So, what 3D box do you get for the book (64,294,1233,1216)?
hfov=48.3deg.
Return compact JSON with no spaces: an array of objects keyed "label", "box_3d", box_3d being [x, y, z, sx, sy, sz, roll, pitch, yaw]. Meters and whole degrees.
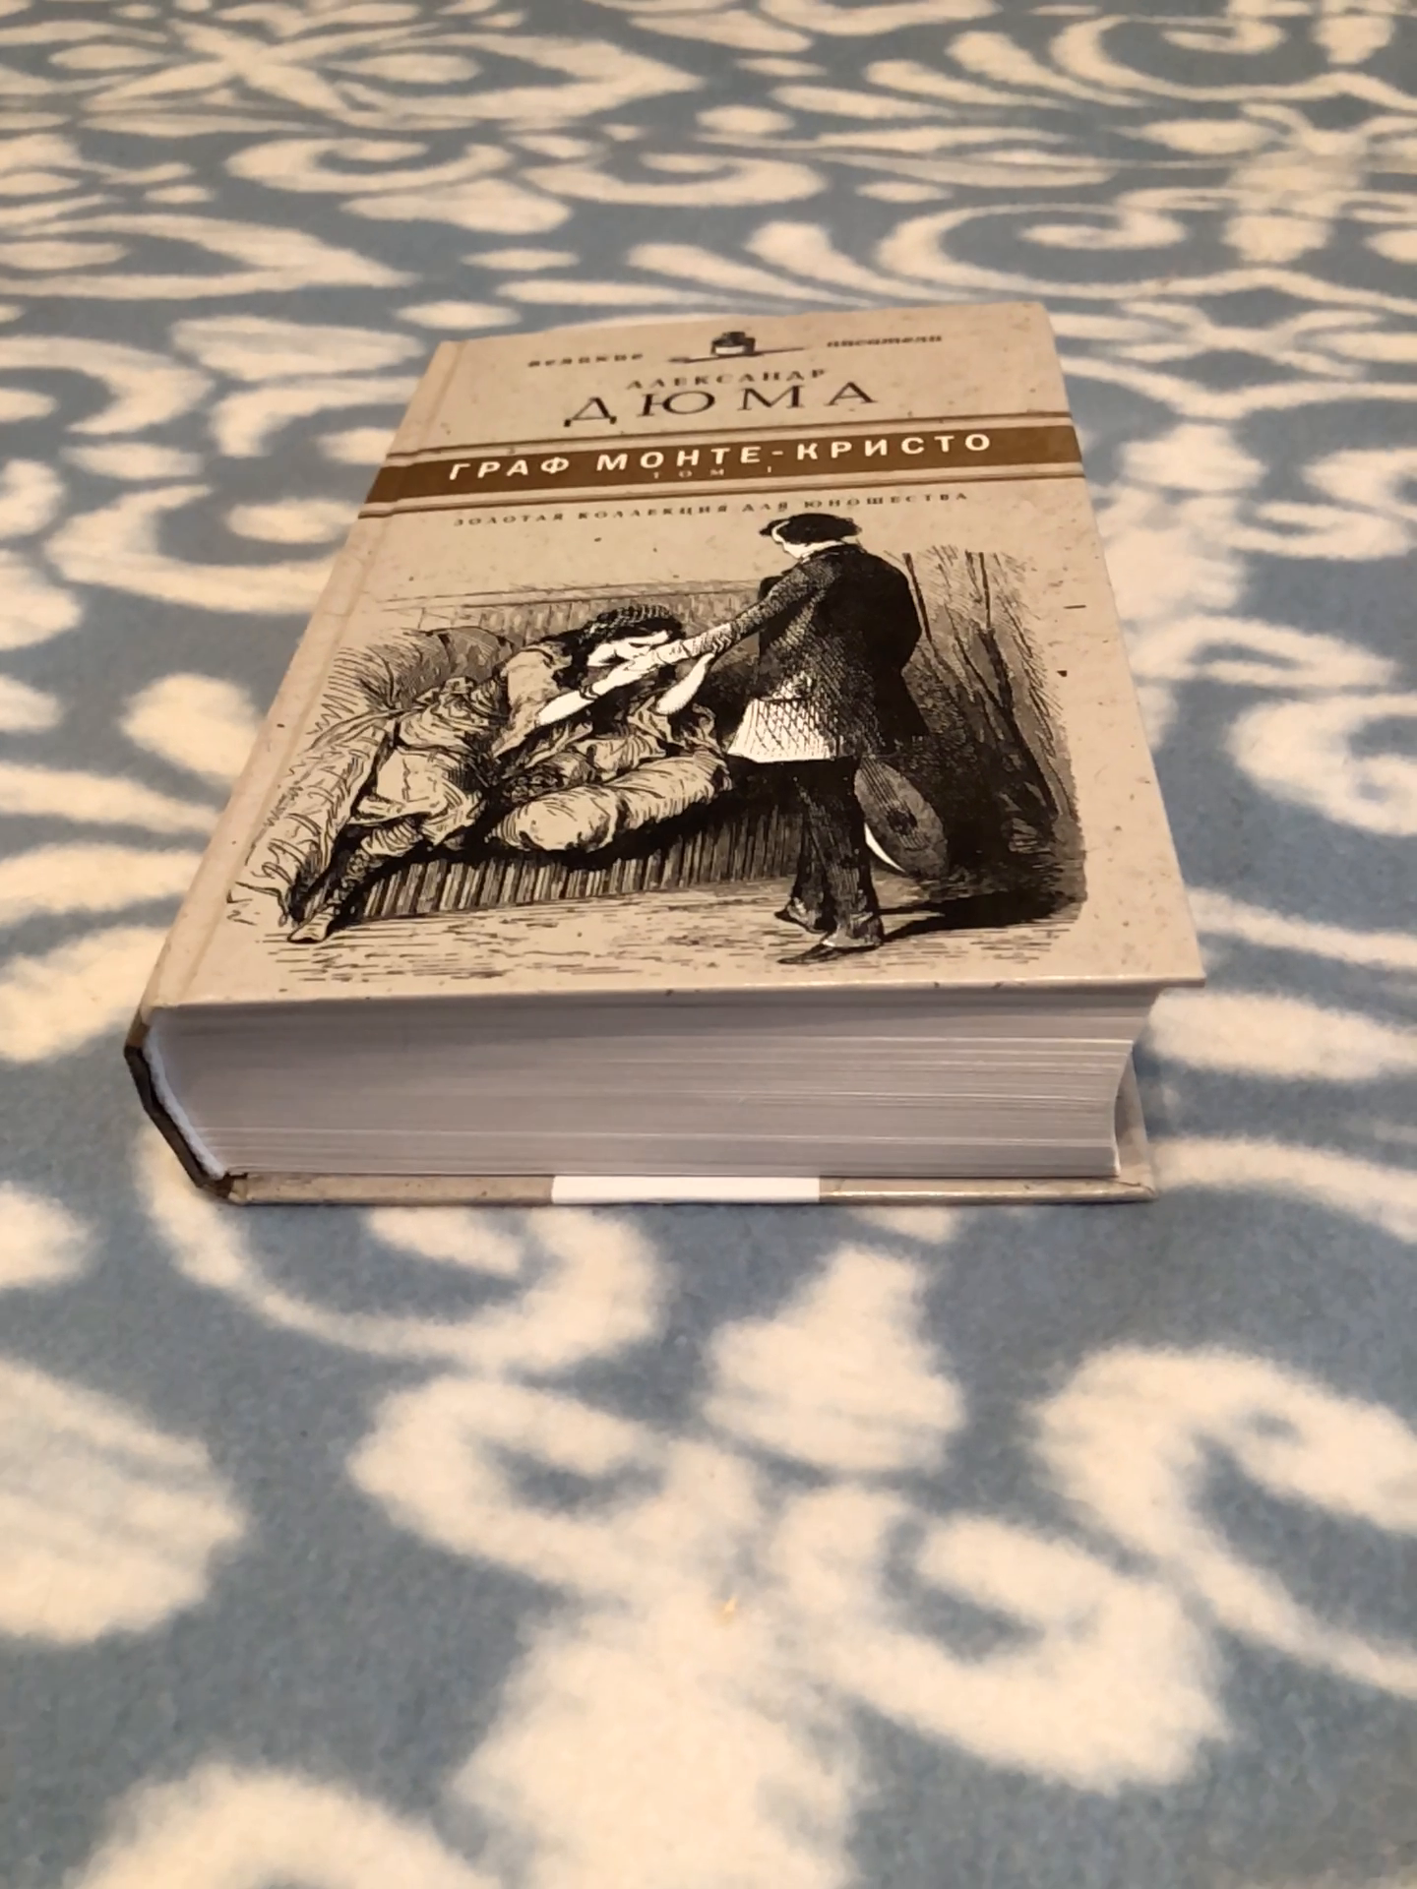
[{"label":"book","box_3d":[-0.002,-0.050,0.276,0.138,0.040,0.213,-1,42,5]}]
